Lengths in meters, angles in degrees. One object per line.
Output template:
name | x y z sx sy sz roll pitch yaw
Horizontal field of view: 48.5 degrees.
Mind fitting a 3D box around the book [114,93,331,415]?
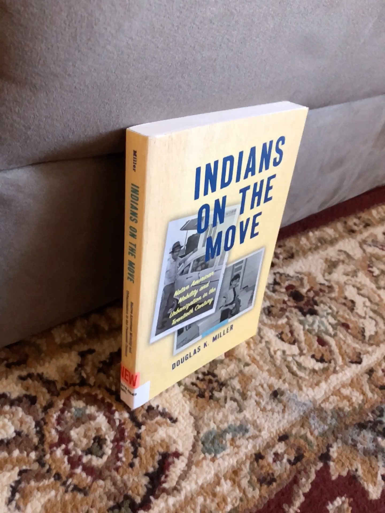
book | 0.016 0.003 0.333 0.160 0.230 0.030 -23 45 -35
